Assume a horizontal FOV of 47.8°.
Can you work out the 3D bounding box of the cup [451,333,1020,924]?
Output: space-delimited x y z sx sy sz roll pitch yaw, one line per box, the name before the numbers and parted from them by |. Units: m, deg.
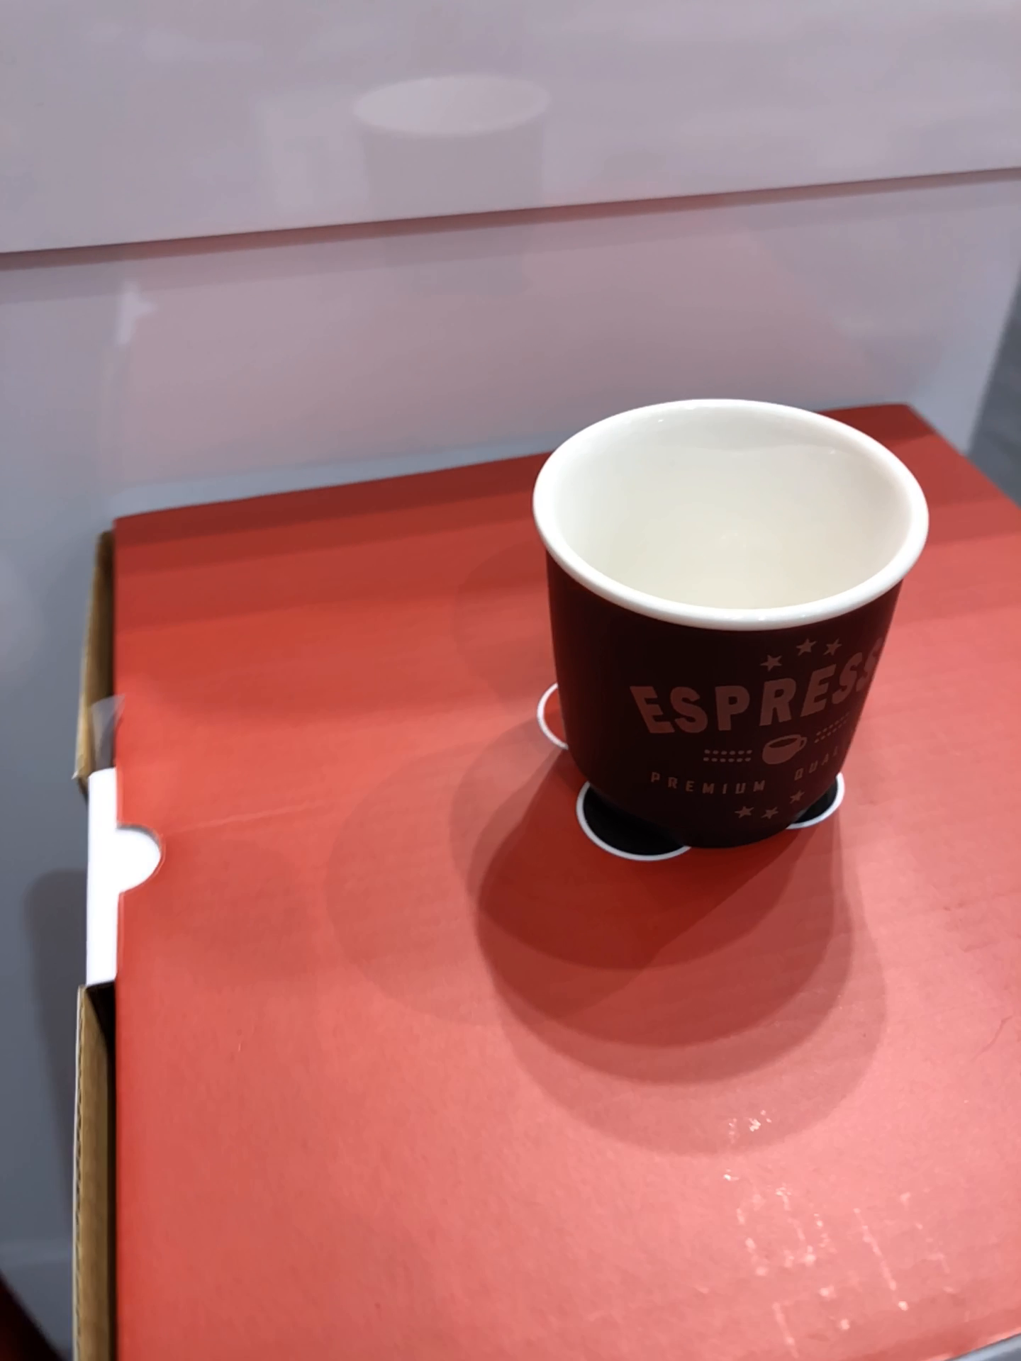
cup | 0.036 -0.012 0.196 0.070 0.060 0.060 -20 45 -21
